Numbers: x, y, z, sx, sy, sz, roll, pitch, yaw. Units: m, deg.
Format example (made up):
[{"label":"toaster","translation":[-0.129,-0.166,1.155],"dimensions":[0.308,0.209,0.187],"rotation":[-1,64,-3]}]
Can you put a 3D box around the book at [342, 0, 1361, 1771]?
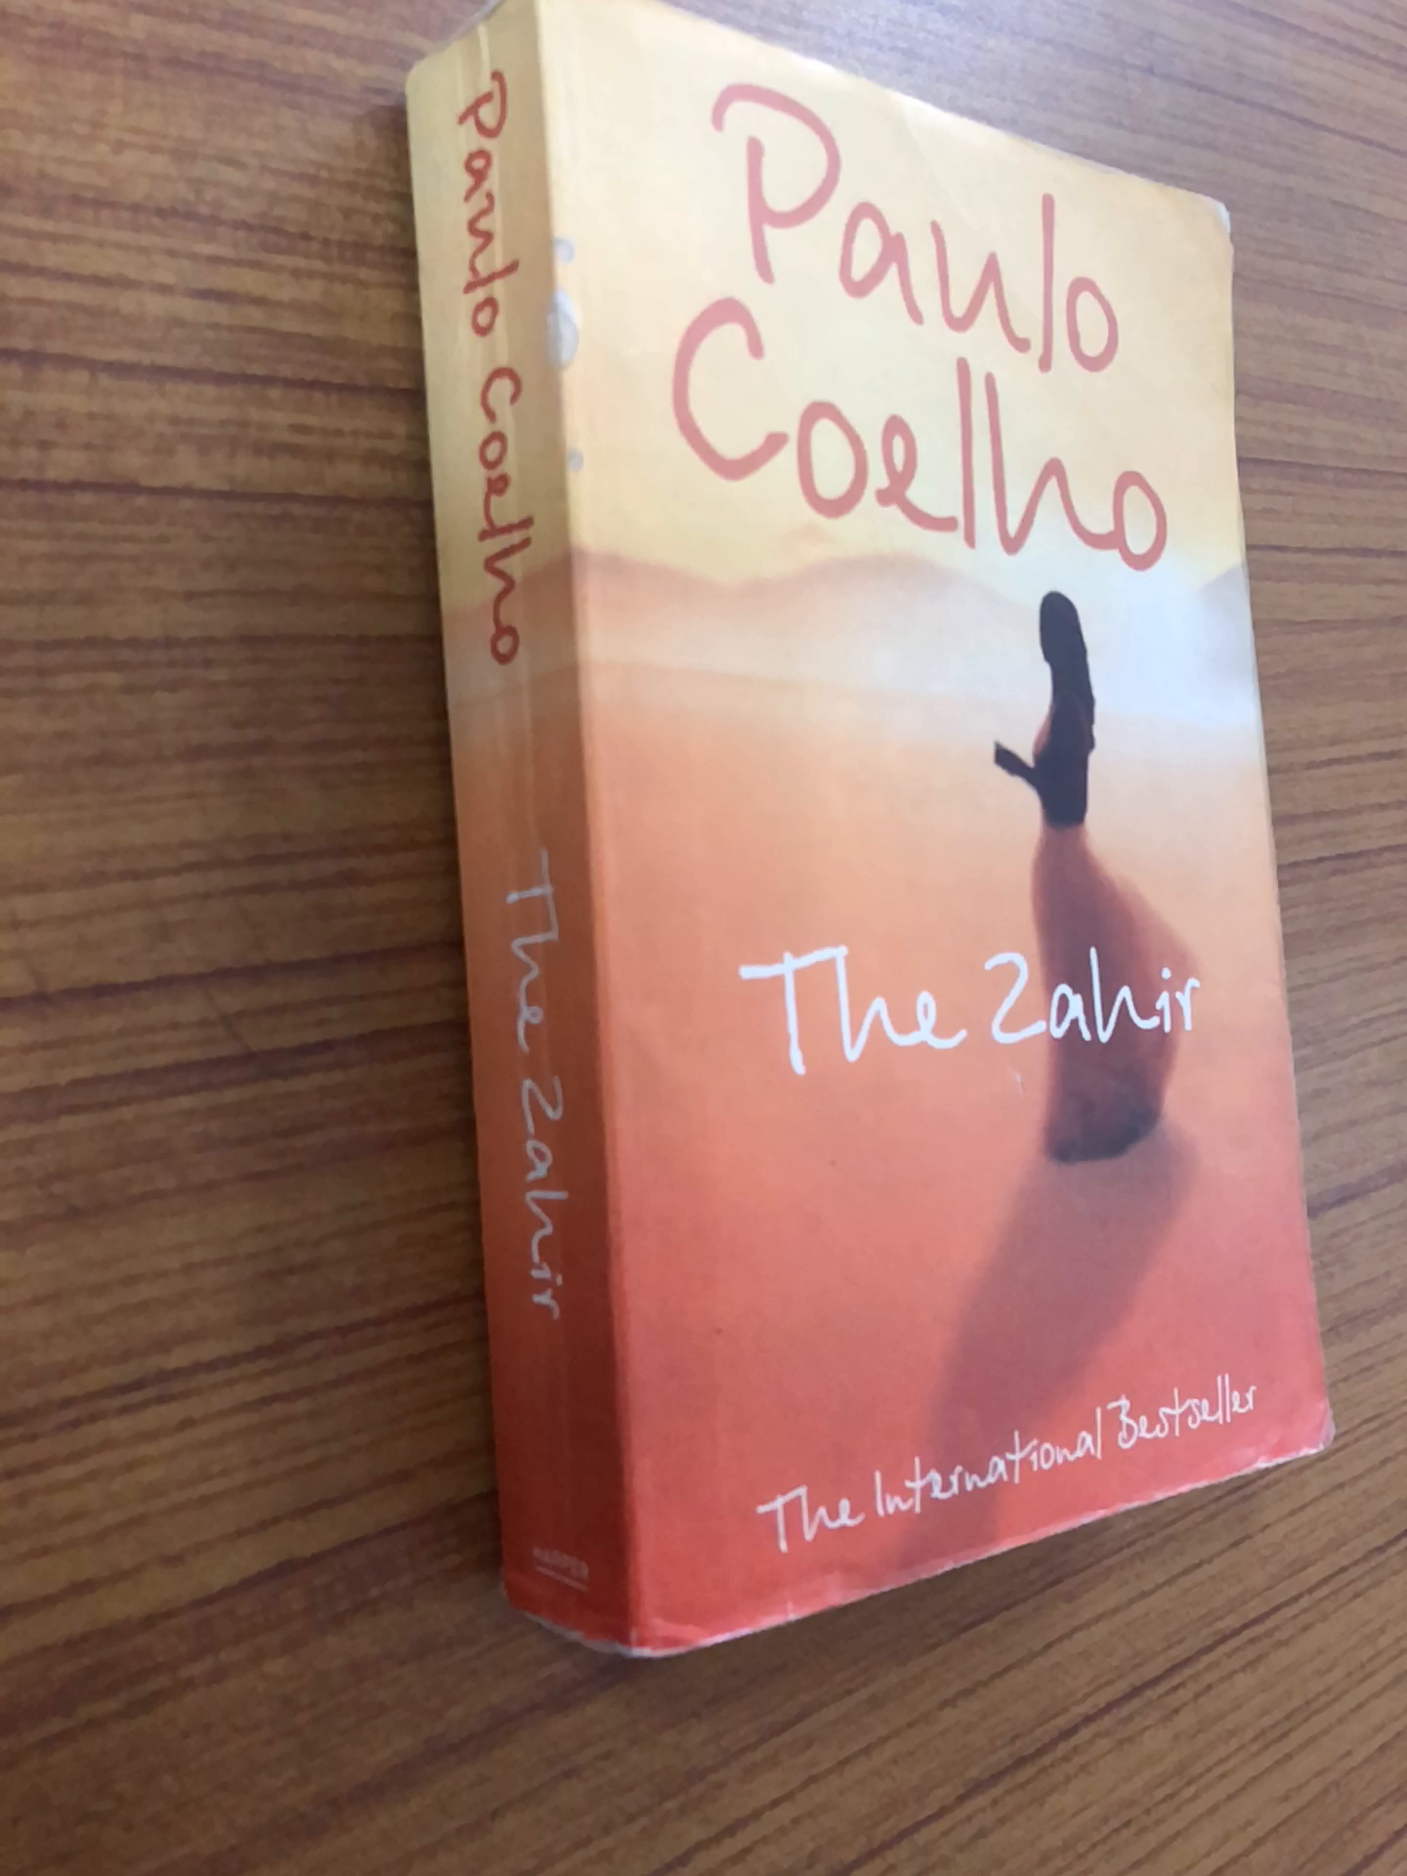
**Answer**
[{"label":"book","translation":[0.022,-0.013,0.199],"dimensions":[0.120,0.040,0.180],"rotation":[0,84,-36]}]
